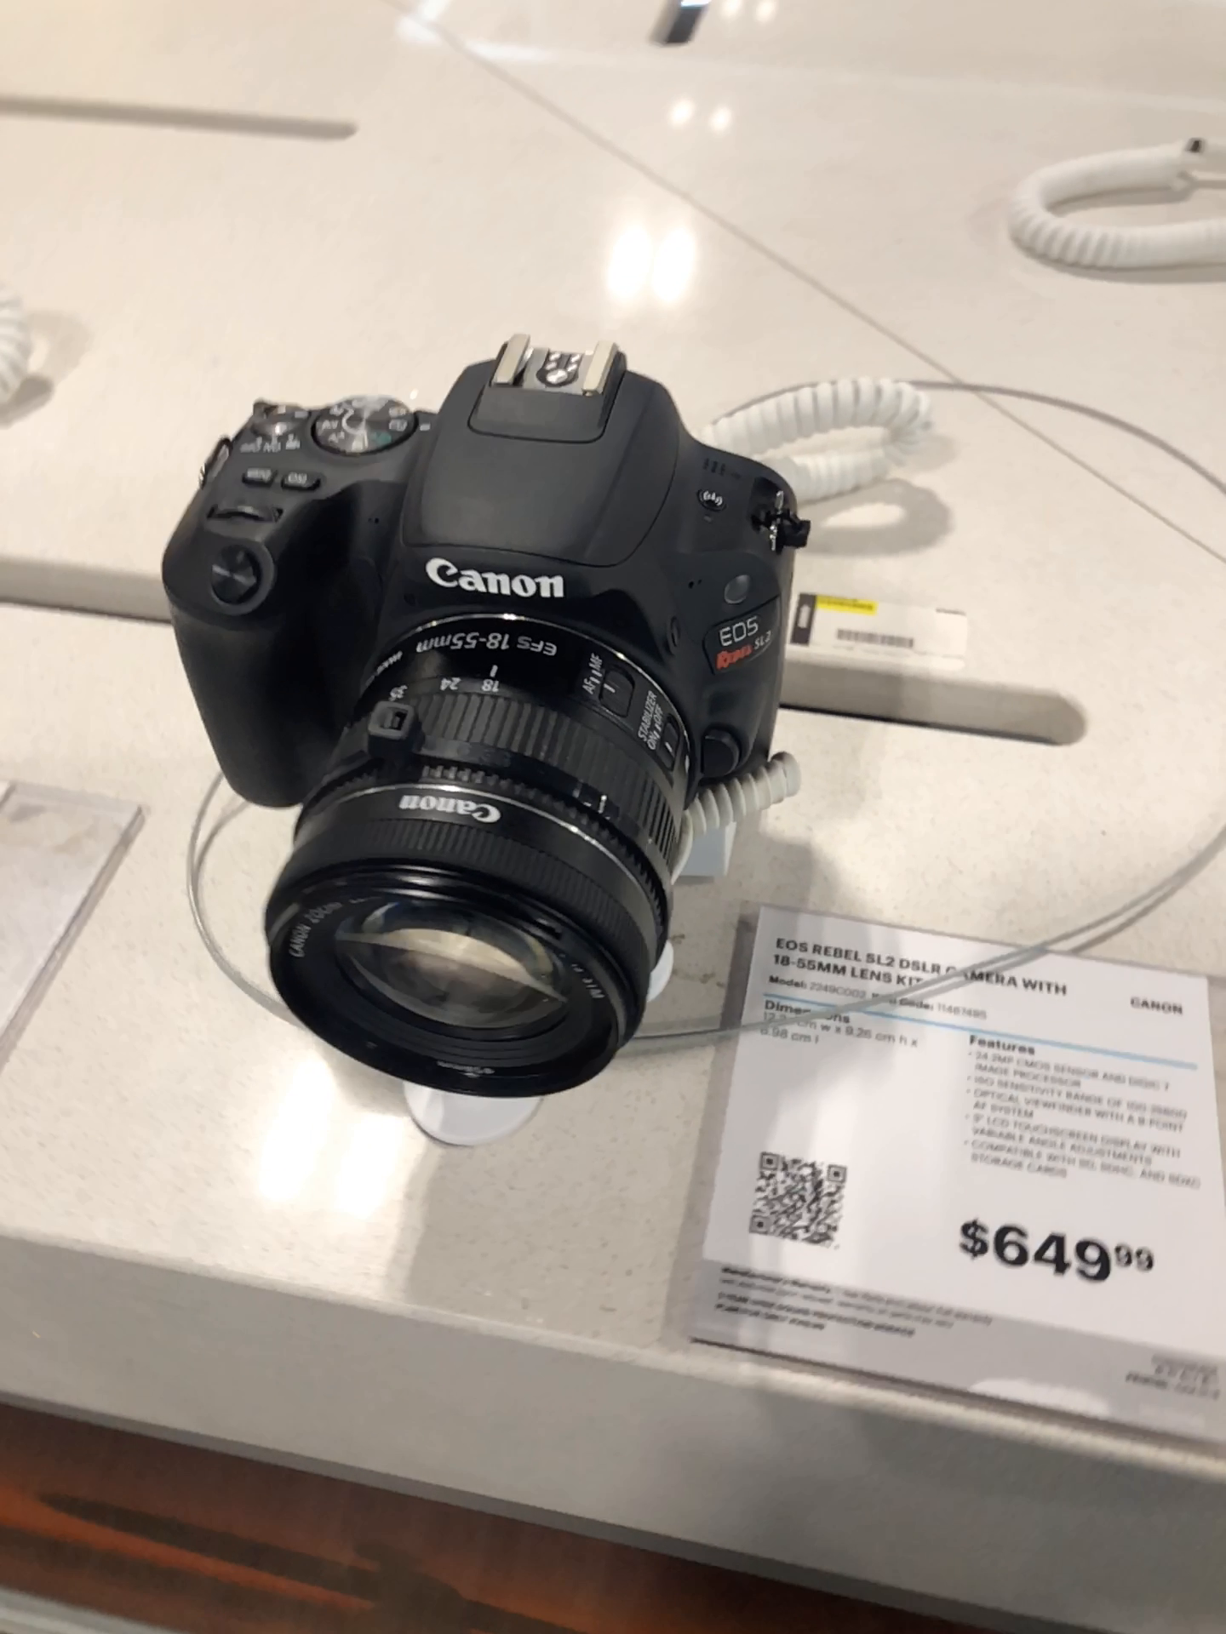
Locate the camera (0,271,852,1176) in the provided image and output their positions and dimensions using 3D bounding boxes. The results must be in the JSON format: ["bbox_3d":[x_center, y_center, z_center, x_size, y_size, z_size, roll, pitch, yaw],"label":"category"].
[{"bbox_3d":[-0.030,-0.028,0.259,0.130,0.070,0.151,8,51,8],"label":"camera"}]
